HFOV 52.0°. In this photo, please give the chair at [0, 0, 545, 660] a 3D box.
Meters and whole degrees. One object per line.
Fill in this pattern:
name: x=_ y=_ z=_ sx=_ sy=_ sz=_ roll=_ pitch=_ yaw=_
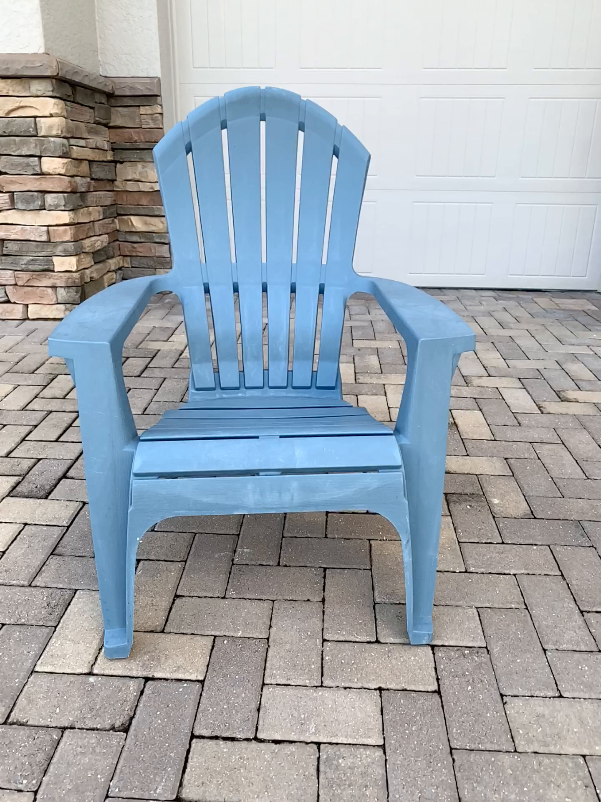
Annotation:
chair: x=-0.067 y=-0.170 z=1.279 sx=0.681 sy=0.987 sz=0.800 roll=-1 pitch=19 yaw=-4
